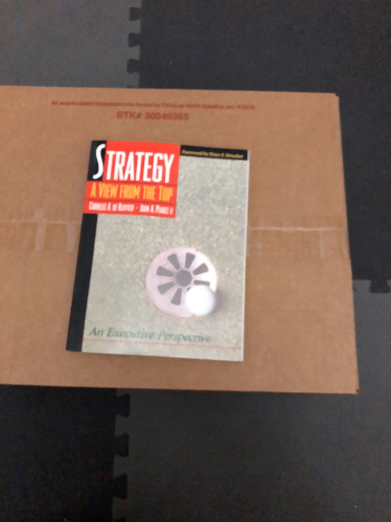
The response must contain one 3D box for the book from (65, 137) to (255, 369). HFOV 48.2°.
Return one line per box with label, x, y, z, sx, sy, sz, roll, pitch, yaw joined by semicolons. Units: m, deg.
book;-0.031;-0.014;0.467;0.180;0.020;0.240;3;77;1
